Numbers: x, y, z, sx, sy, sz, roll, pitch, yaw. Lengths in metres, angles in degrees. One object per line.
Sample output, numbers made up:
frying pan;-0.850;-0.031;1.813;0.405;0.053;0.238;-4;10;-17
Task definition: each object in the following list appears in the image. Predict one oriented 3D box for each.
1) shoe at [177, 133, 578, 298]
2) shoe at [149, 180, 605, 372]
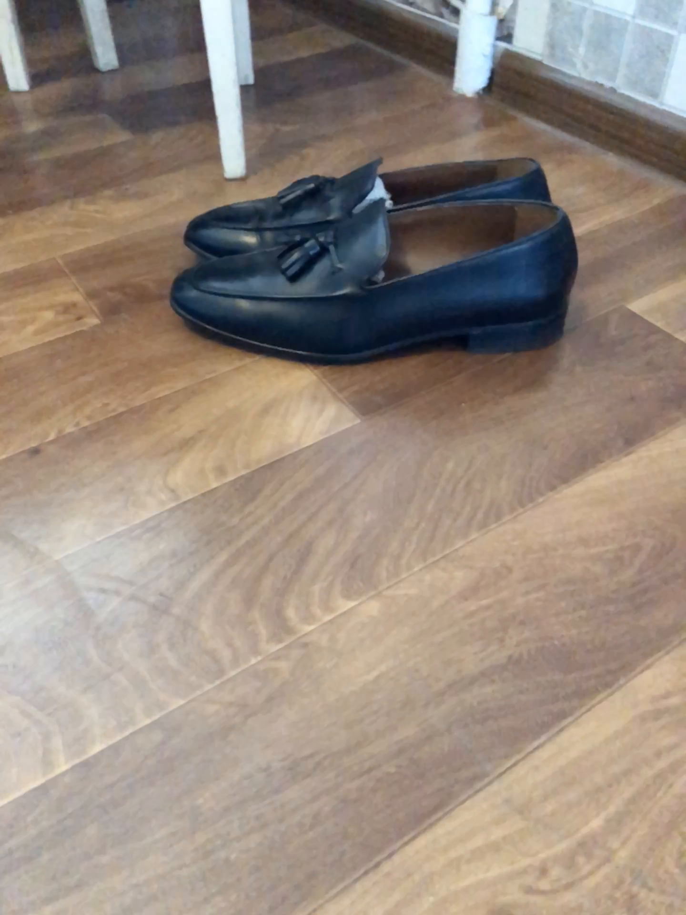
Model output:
shoe;0.022;-0.173;0.535;0.253;0.068;0.101;-1;45;1
shoe;0.019;-0.116;0.477;0.253;0.068;0.101;-2;45;1
